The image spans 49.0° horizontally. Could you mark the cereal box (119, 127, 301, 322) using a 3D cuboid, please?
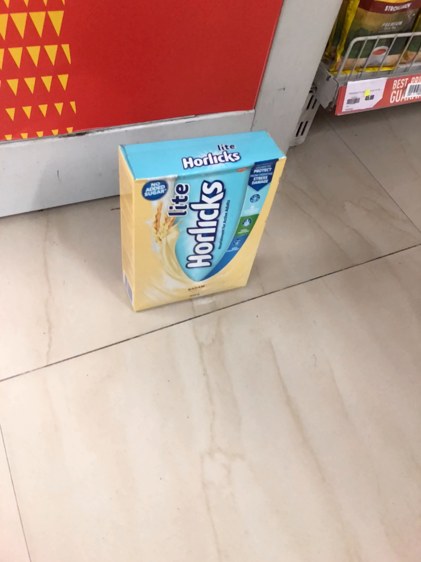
[{"bbox_3d":[-0.010,-0.051,0.469,0.150,0.189,0.050,-13,53,-20],"label":"cereal box"}]
